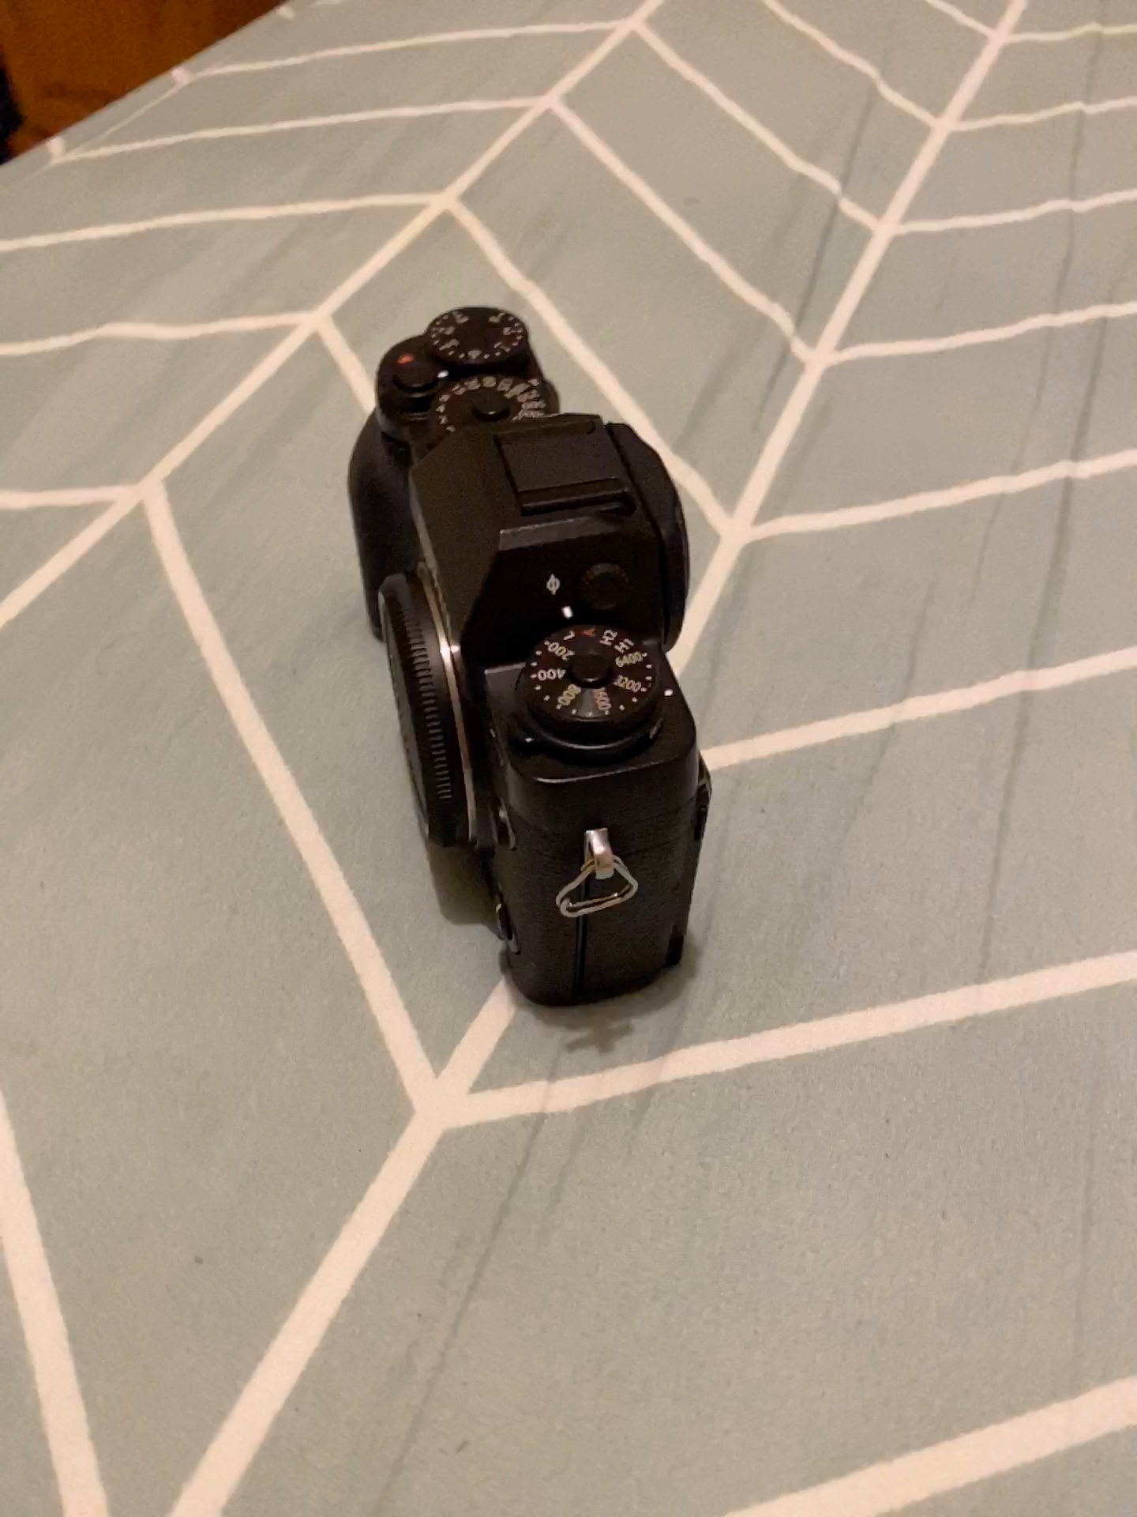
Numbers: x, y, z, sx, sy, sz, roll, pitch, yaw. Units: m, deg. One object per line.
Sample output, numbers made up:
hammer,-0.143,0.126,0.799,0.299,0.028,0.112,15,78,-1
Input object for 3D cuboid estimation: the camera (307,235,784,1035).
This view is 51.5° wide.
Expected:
camera,-0.012,-0.028,0.236,0.051,0.087,0.131,-11,52,-10
